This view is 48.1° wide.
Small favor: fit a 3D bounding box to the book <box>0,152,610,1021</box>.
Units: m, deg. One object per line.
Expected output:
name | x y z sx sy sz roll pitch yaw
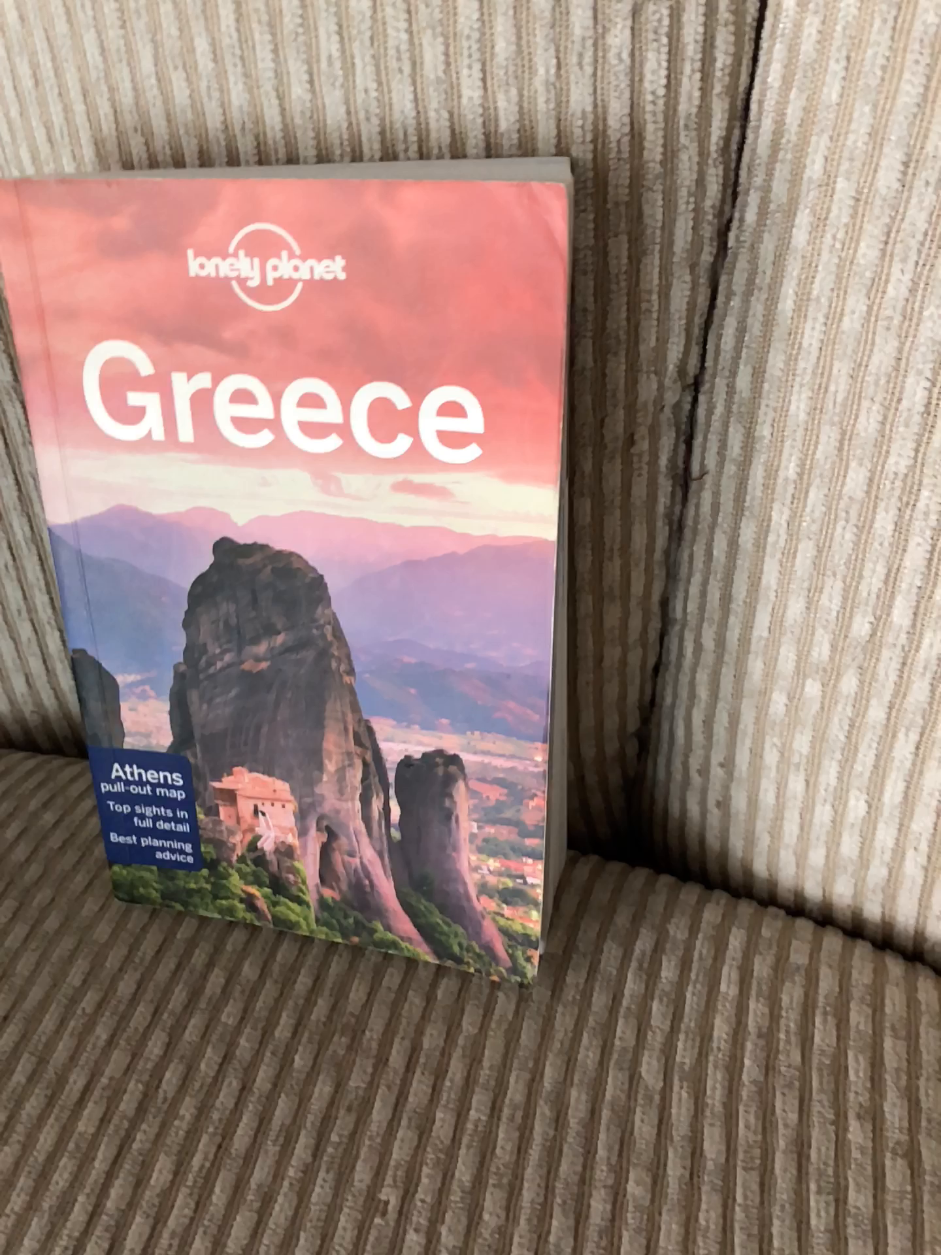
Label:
book | -0.039 -0.008 0.265 0.132 0.201 0.041 7 24 17
